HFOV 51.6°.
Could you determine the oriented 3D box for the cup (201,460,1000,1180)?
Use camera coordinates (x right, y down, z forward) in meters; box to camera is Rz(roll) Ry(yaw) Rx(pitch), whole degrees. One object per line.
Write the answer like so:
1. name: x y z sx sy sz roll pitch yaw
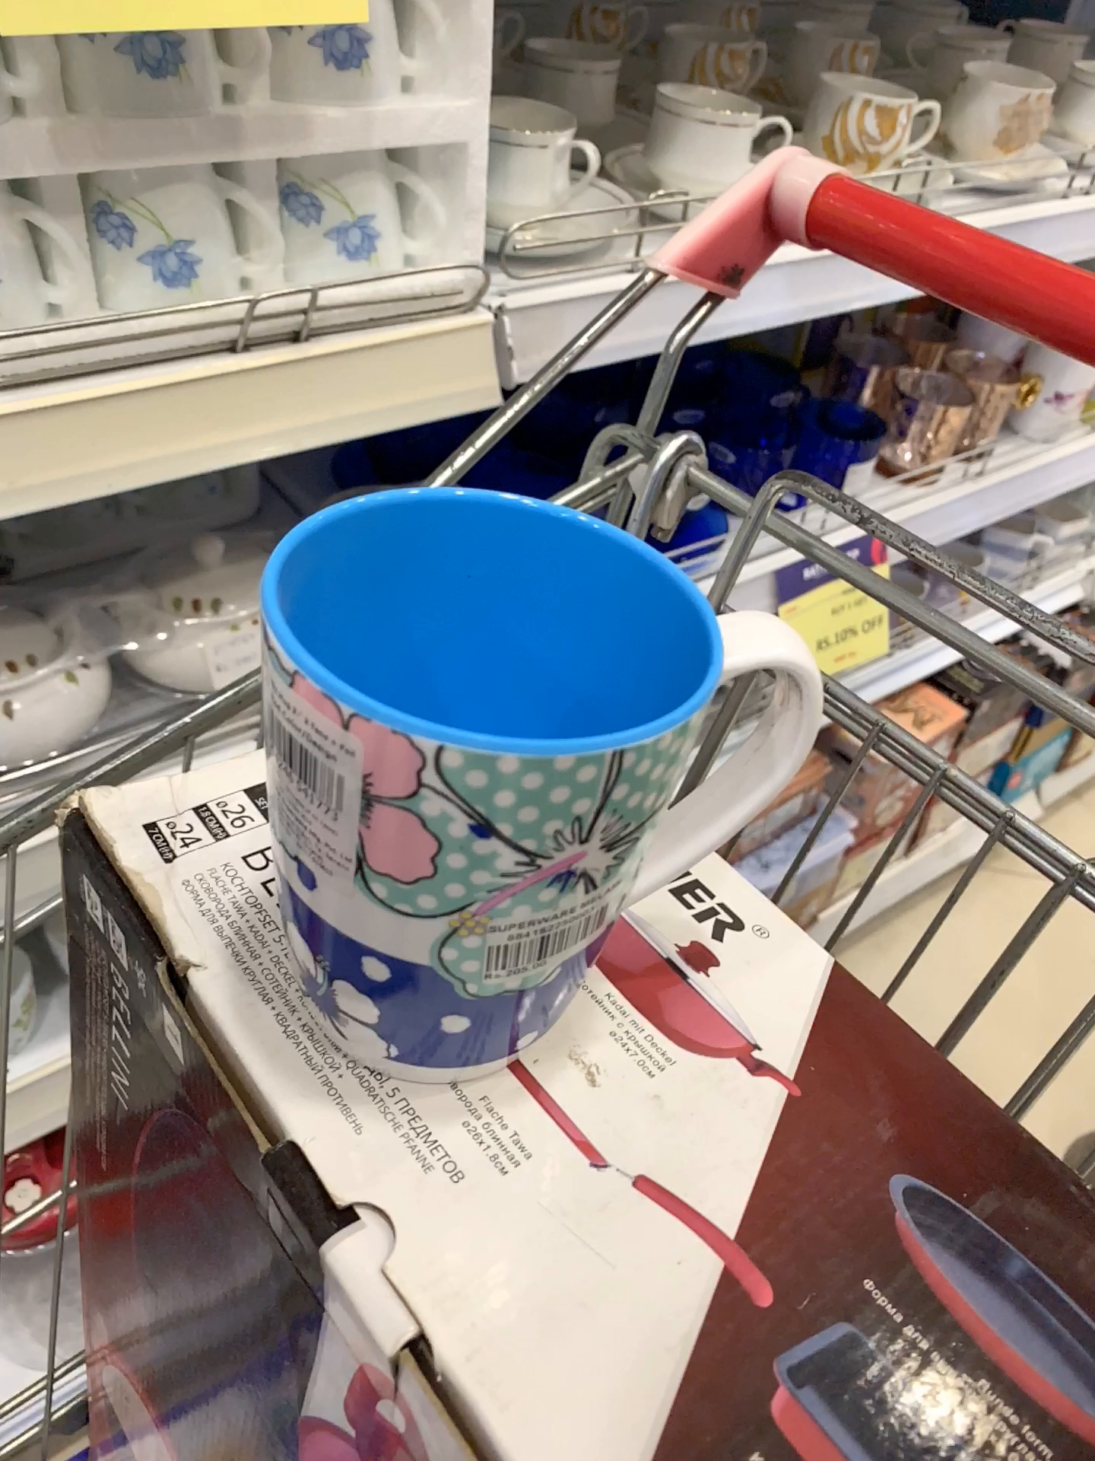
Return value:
1. cup: 0.000 0.012 0.230 0.120 0.100 0.080 -8 43 -24
